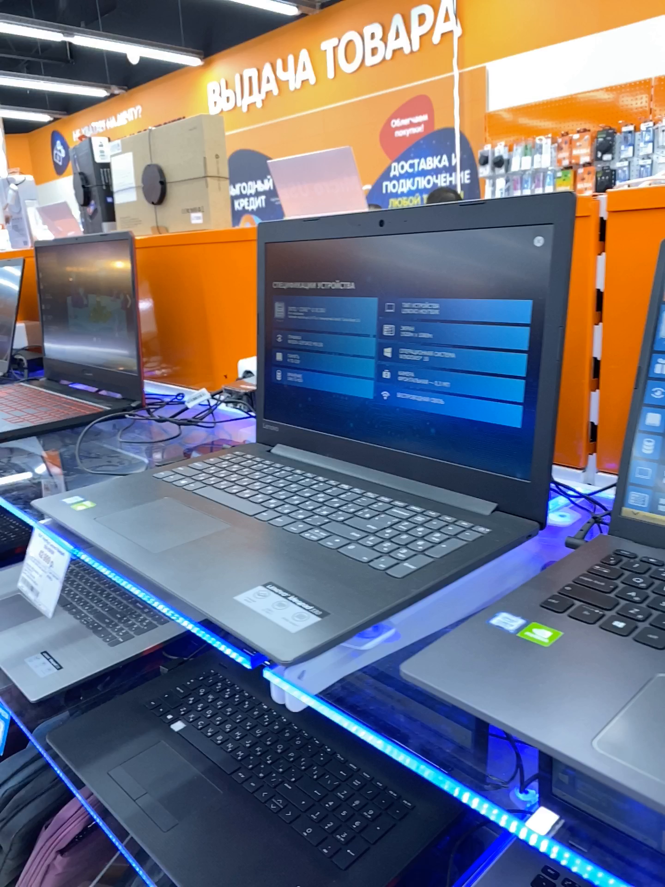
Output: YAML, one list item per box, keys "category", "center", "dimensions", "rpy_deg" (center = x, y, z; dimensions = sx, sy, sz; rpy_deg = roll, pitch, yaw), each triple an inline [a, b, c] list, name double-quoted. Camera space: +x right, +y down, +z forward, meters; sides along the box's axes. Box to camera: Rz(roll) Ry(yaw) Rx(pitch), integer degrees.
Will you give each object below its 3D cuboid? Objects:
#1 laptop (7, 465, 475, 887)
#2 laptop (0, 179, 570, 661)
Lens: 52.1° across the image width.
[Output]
- category: "laptop"
  center: [-0.098, 0.211, 0.699]
  dimensions: [0.401, 0.263, 0.271]
  rpy_deg: [12, 19, 43]
- category: "laptop"
  center: [-0.054, -0.063, 0.568]
  dimensions: [0.289, 0.245, 0.378]
  rpy_deg: [-16, 20, -41]
